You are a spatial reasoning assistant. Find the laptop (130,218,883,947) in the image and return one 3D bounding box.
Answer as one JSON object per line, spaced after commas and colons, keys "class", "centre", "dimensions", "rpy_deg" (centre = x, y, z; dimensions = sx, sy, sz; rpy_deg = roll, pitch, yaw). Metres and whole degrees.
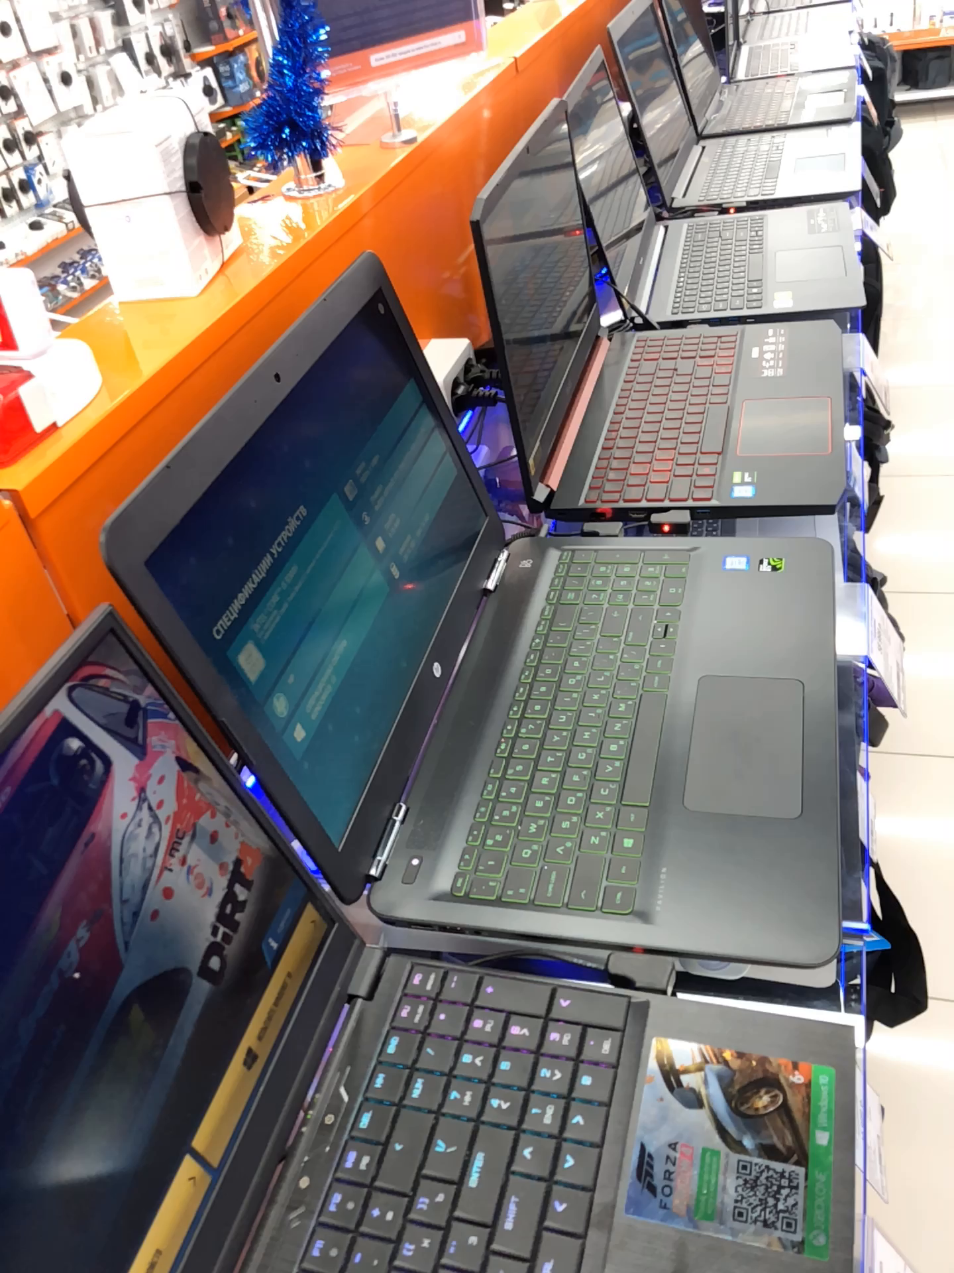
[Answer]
{"class": "laptop", "centre": [0.056, -0.057, 0.621], "dimensions": [0.311, 0.235, 0.359], "rpy_deg": [1, 38, 16]}
